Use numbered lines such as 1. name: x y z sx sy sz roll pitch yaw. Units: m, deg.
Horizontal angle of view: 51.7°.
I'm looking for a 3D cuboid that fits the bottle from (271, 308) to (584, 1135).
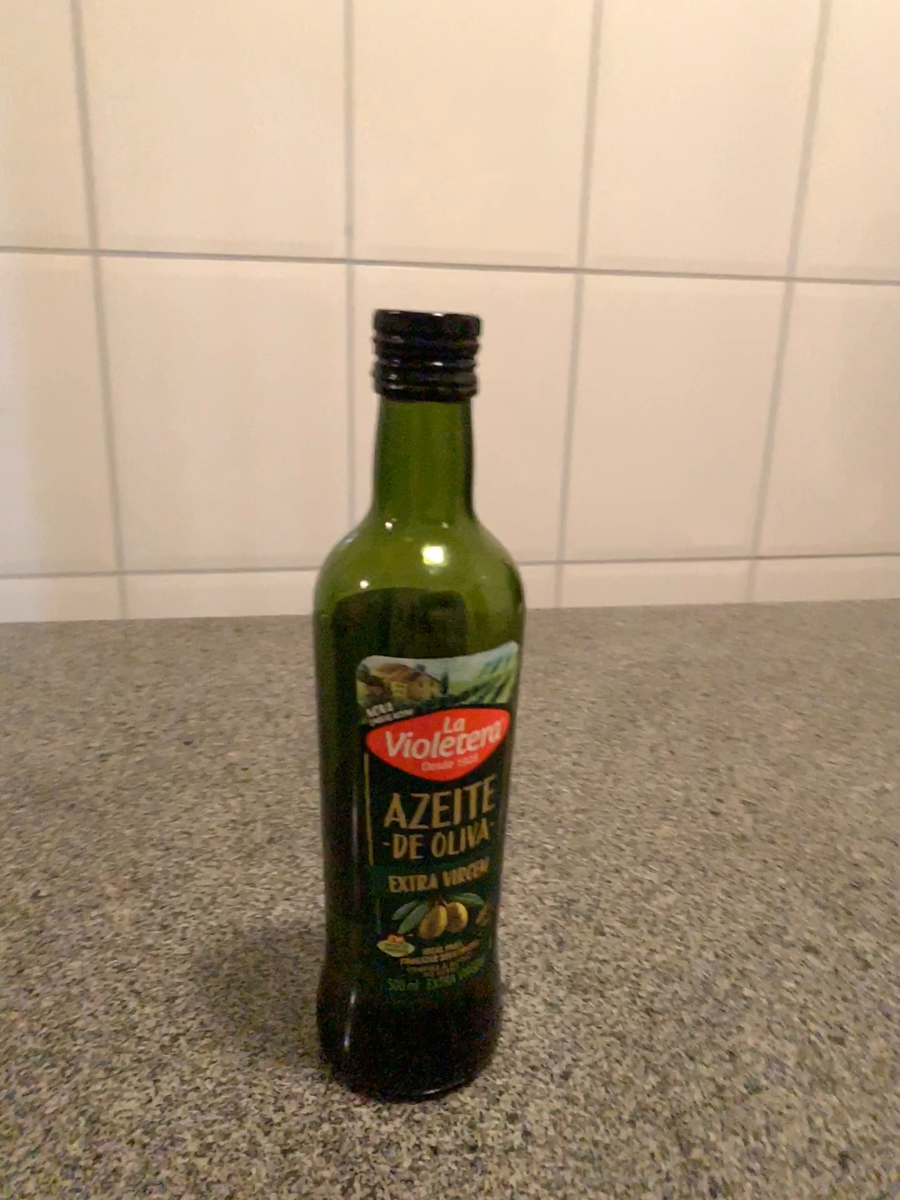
1. bottle: -0.013 0.037 0.285 0.070 0.239 0.060 -4 18 -18
